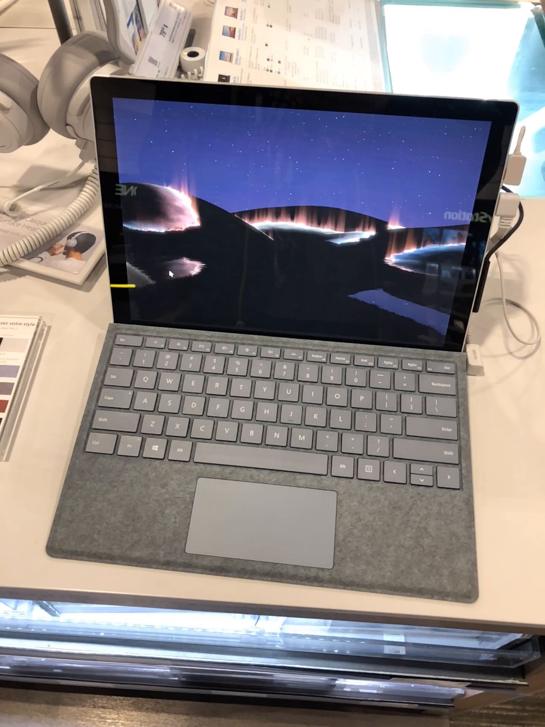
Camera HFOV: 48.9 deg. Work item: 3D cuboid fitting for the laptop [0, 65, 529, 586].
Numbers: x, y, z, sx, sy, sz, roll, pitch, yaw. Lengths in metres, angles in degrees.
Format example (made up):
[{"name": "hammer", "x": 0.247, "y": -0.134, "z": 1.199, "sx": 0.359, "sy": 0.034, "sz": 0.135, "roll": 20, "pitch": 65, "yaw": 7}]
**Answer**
[{"name": "laptop", "x": 0.003, "y": -0.031, "z": 0.395, "sx": 0.261, "sy": 0.143, "sz": 0.284, "roll": 5, "pitch": 62, "yaw": 7}]
